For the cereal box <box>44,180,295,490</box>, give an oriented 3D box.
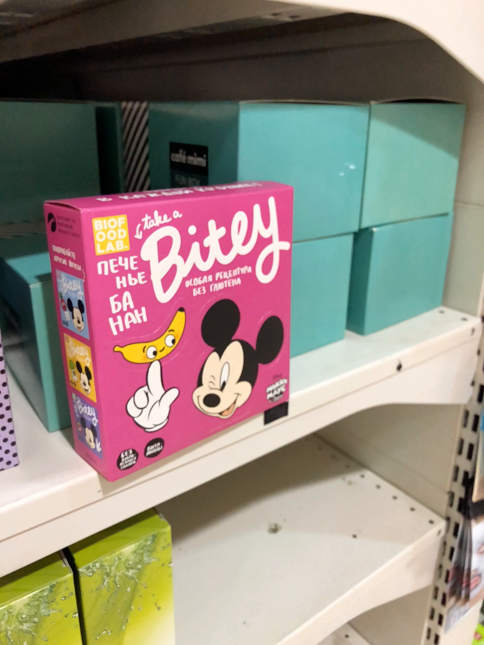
[{"bbox_3d":[-0.033,-0.003,0.320,0.140,0.149,0.040,-17,26,-41],"label":"cereal box"}]
